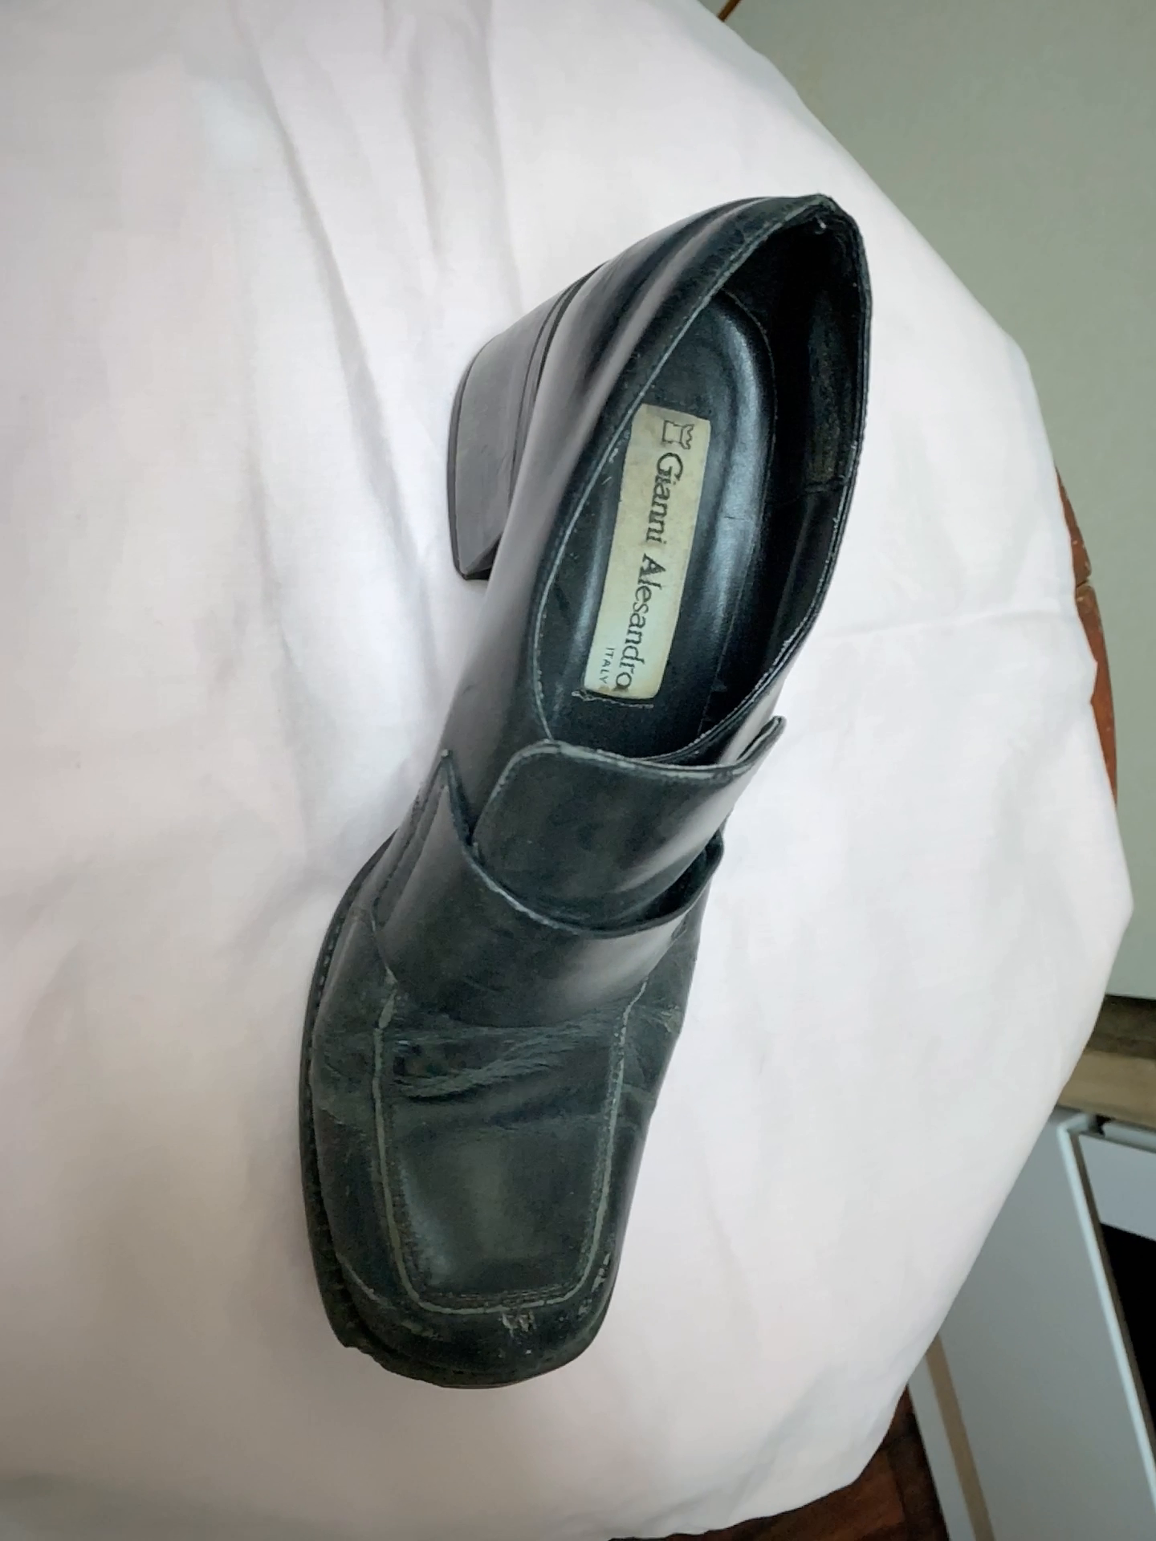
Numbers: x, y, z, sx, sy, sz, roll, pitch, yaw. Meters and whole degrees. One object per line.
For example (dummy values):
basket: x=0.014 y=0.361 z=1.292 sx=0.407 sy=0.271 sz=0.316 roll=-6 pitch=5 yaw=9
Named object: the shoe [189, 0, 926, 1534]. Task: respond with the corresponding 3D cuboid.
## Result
shoe: x=-0.006 y=-0.002 z=0.240 sx=0.090 sy=0.092 sz=0.240 roll=11 pitch=81 yaw=-23
